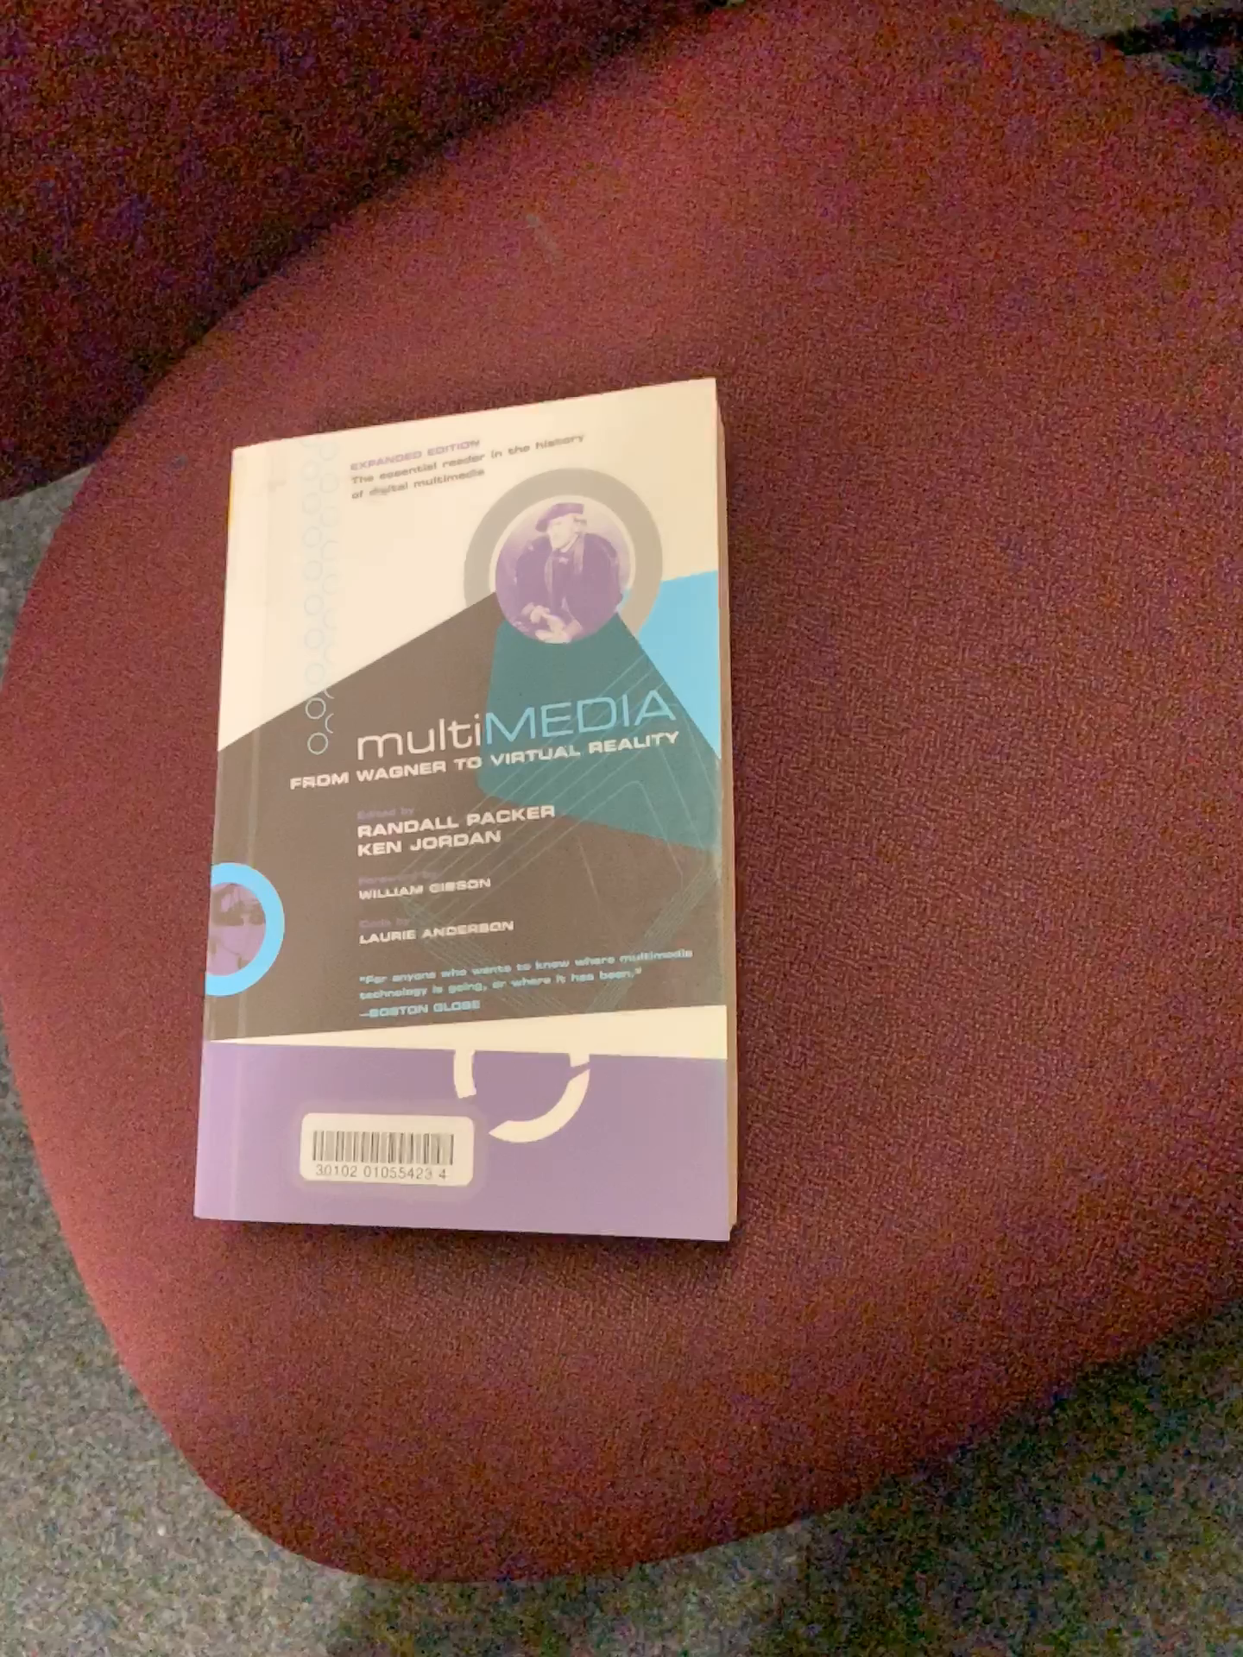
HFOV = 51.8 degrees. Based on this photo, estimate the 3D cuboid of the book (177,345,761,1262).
[{"bbox_3d":[-0.045,-0.007,0.380,0.160,0.040,0.248,-3,79,17],"label":"book"}]
